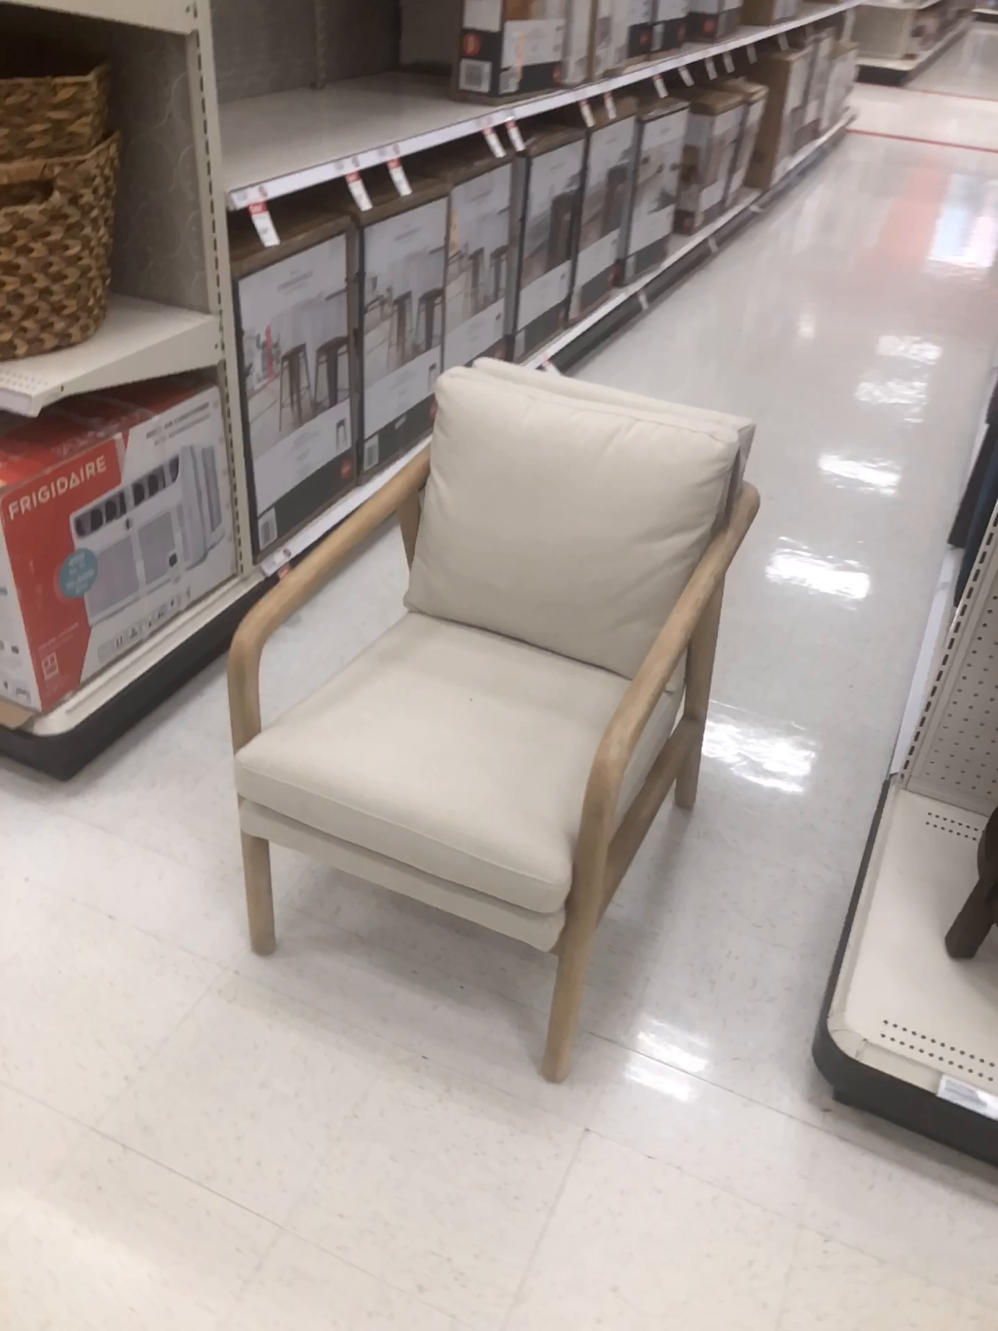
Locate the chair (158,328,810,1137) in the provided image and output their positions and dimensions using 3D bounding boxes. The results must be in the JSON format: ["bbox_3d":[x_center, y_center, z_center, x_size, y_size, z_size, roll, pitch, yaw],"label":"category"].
[{"bbox_3d":[0.012,0.046,1.663,0.580,0.806,0.763,18,37,18],"label":"chair"}]
